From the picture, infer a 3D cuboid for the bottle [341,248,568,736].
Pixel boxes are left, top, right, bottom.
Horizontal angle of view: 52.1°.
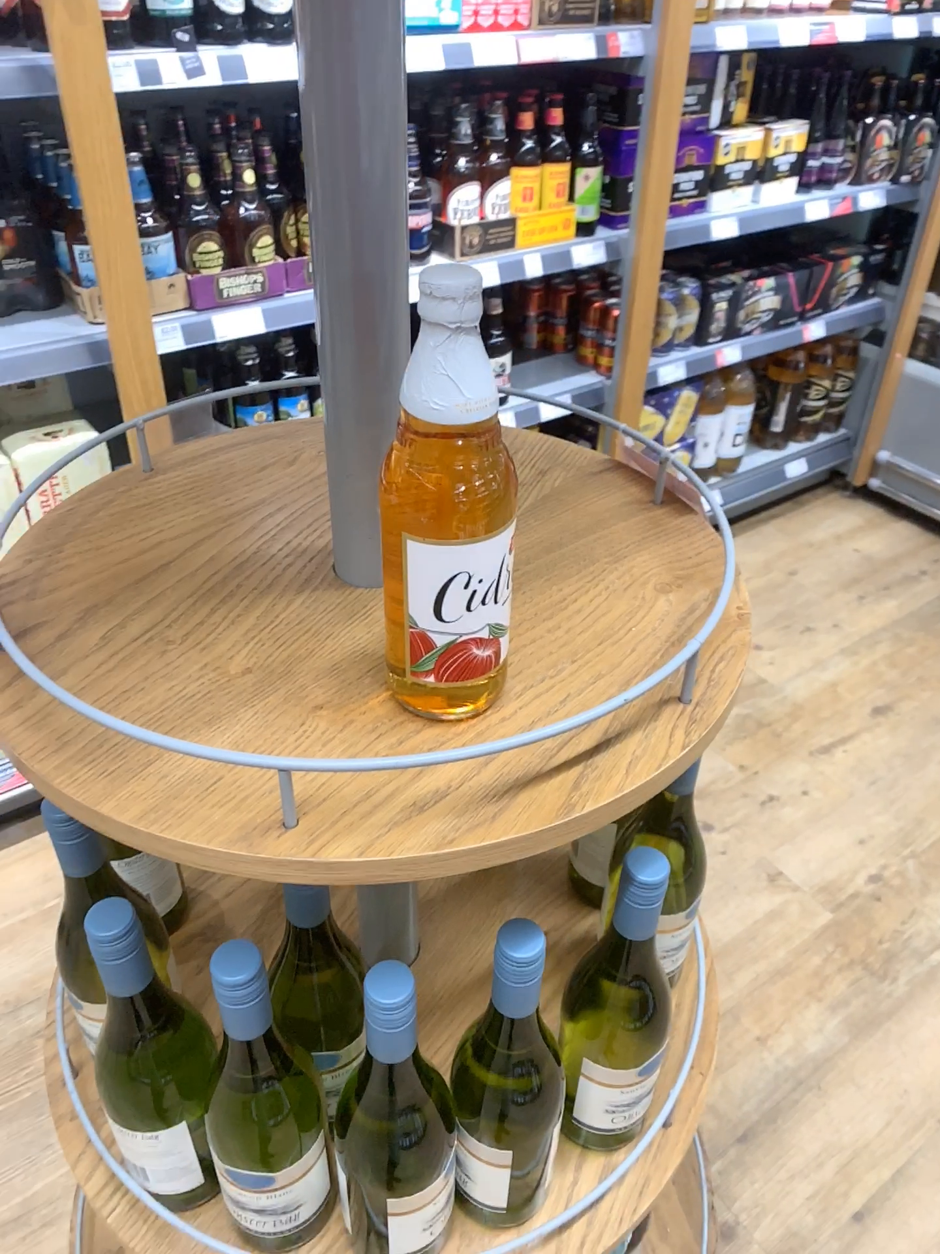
[{"bbox_3d":[-0.010,-0.060,0.476,0.069,0.218,0.070,1,36,-1],"label":"bottle"}]
